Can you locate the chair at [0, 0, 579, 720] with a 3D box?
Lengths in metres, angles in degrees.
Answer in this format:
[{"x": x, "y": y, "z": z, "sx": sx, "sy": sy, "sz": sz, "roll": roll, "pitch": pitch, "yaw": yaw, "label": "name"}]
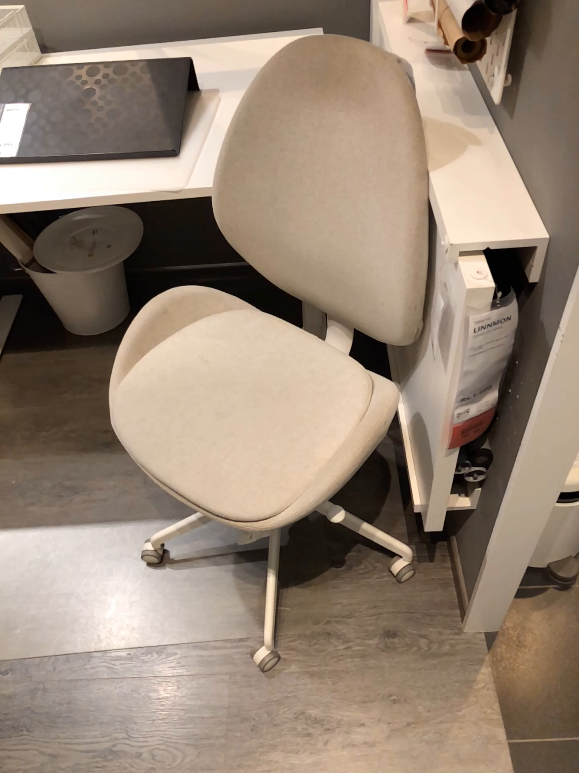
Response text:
[{"x": -0.042, "y": -0.038, "z": 1.189, "sx": 0.682, "sy": 0.964, "sz": 0.682, "roll": 32, "pitch": 58, "yaw": 29, "label": "chair"}]
